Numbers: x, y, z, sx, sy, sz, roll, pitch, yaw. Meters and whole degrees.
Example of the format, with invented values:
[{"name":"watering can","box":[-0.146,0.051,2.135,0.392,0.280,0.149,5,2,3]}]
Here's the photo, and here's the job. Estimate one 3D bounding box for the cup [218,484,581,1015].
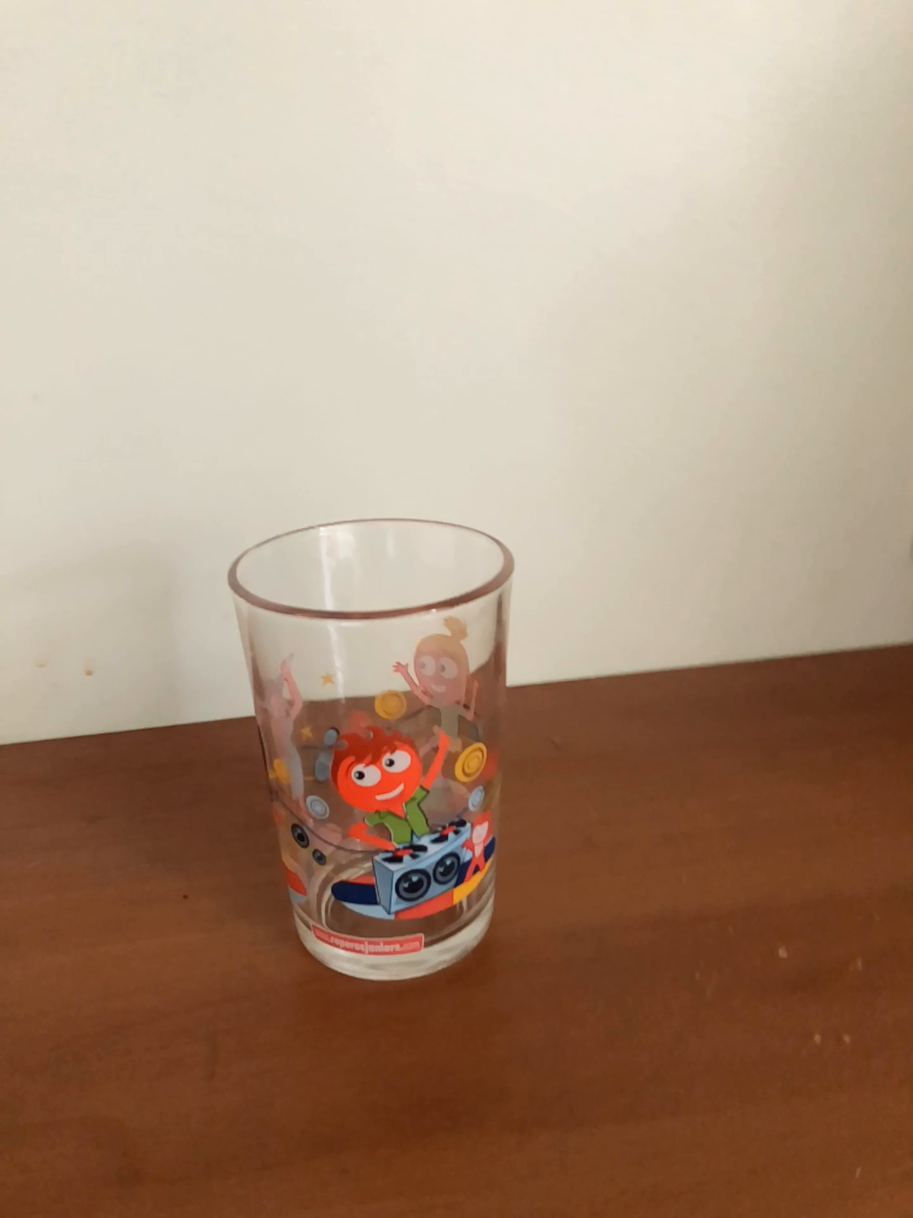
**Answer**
[{"name":"cup","box":[-0.016,0.029,0.253,0.070,0.100,0.070,-2,22,1]}]
